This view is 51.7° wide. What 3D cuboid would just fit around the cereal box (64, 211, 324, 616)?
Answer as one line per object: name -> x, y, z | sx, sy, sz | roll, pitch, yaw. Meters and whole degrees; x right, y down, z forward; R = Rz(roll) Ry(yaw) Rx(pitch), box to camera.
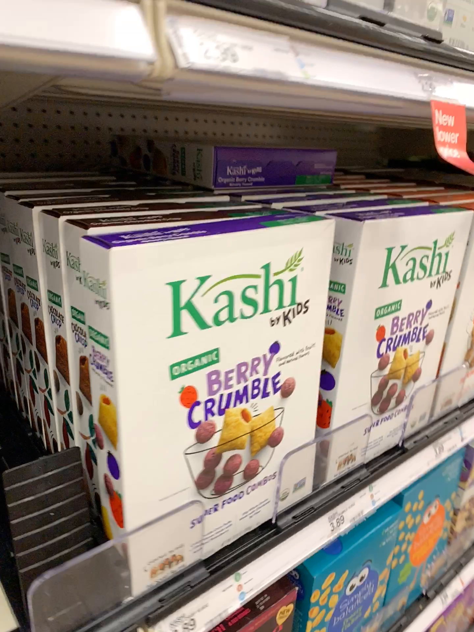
cereal box -> -0.026, 0.066, 0.393 | 0.190, 0.279, 0.050 | -15, 27, -39
